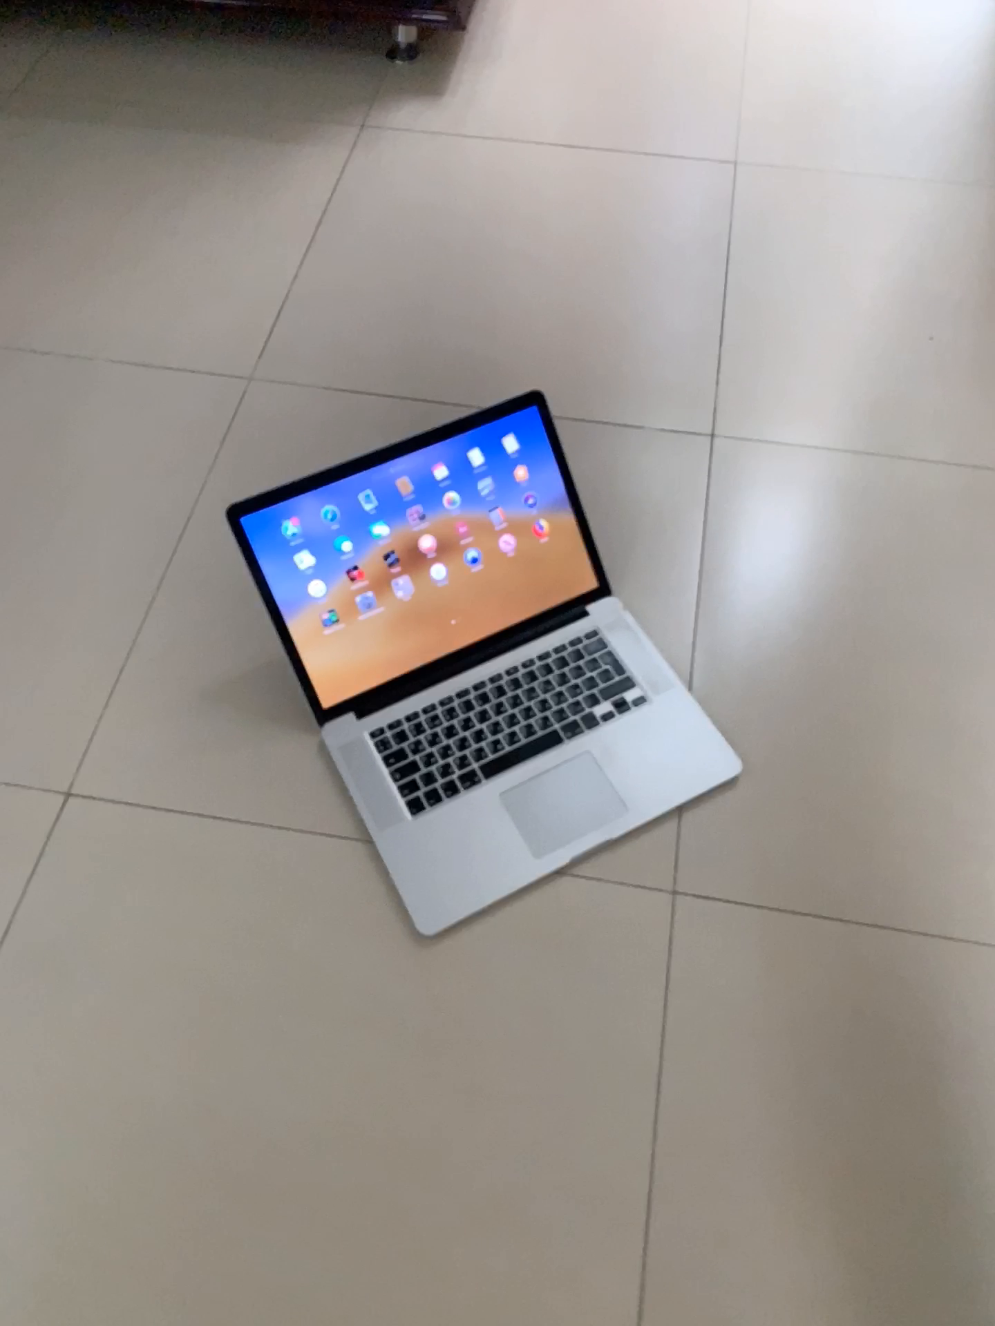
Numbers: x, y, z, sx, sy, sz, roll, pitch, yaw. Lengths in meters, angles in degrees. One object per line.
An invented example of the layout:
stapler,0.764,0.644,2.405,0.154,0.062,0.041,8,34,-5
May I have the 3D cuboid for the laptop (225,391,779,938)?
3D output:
laptop,-0.010,-0.021,0.984,0.352,0.162,0.415,-25,60,-16
